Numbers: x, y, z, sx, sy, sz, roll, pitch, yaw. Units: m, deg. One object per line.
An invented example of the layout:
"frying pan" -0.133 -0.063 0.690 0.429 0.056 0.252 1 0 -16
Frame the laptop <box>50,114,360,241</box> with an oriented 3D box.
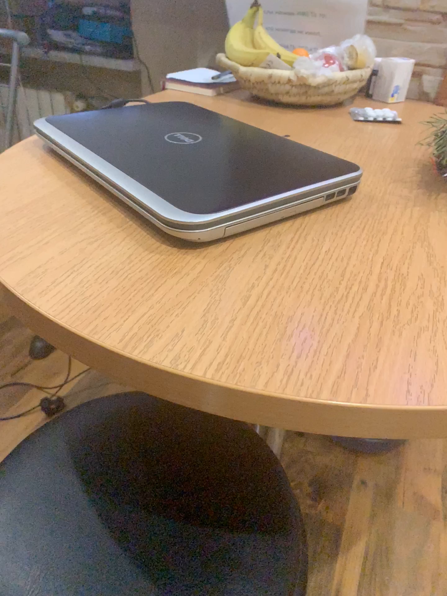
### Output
"laptop" -0.045 -0.170 0.559 0.225 0.004 0.350 -22 40 -28
